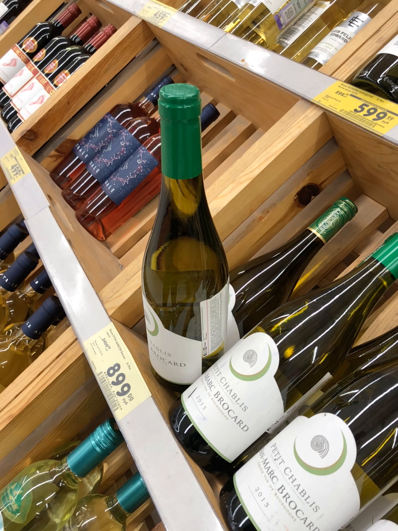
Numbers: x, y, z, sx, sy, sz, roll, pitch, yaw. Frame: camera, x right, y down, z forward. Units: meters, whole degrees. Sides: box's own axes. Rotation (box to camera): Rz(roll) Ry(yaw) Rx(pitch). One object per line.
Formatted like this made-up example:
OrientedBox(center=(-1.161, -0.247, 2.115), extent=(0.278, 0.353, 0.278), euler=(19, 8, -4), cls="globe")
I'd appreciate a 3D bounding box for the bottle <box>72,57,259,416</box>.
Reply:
OrientedBox(center=(-0.022, -0.003, 0.370), extent=(0.090, 0.288, 0.090), euler=(-1, 42, 1), cls="bottle")
